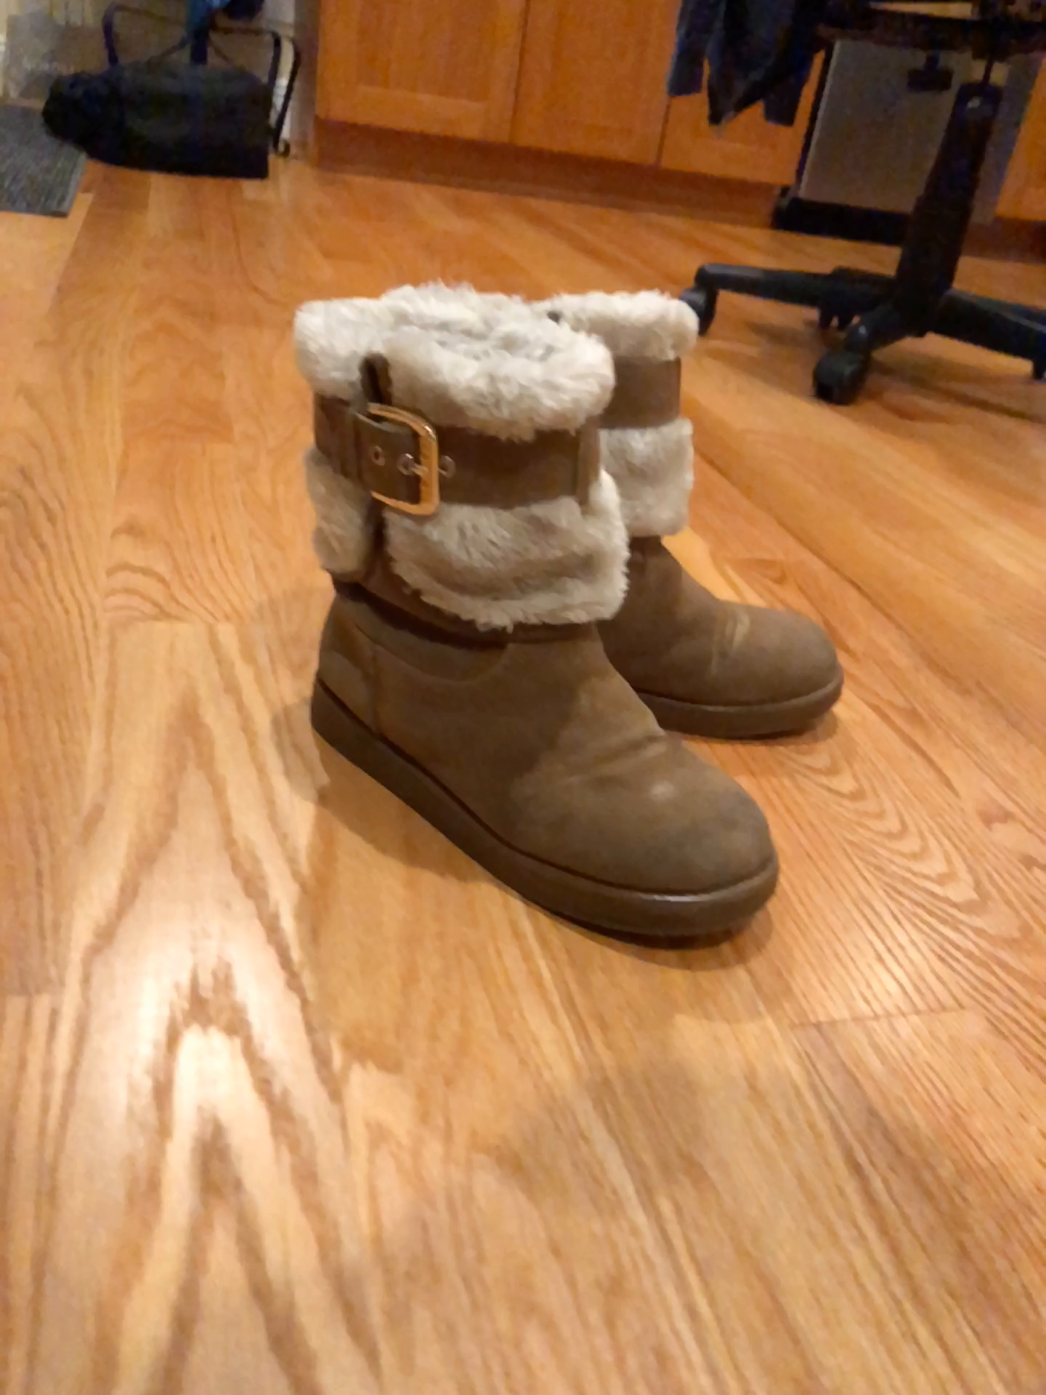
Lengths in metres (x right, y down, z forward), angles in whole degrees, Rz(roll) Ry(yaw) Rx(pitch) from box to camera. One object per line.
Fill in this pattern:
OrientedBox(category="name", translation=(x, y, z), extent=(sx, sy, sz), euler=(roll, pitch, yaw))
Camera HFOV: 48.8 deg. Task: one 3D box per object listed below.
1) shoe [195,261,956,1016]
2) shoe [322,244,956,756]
OrientedBox(category="shoe", translation=(-0.002, -0.041, 0.449), extent=(0.254, 0.193, 0.107), euler=(26, 32, 29))
OrientedBox(category="shoe", translation=(0.041, -0.095, 0.566), extent=(0.254, 0.193, 0.113), euler=(6, 28, -7))
